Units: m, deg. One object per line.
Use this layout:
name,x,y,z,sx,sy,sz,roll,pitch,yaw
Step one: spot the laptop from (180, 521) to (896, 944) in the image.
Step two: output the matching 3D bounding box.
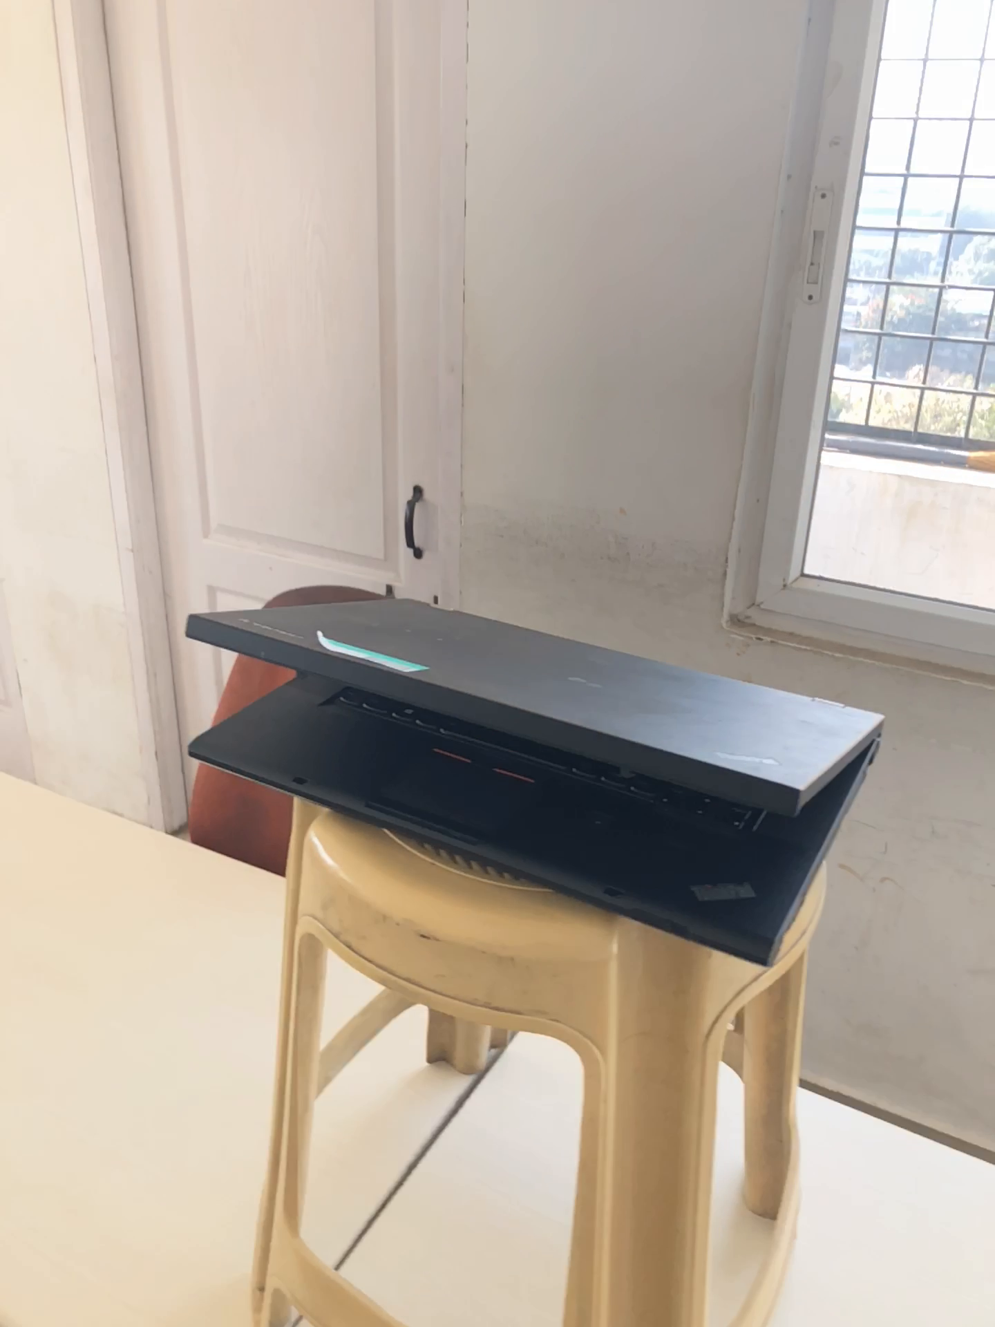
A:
laptop,0.028,0.013,0.677,0.362,0.074,0.235,15,31,26
